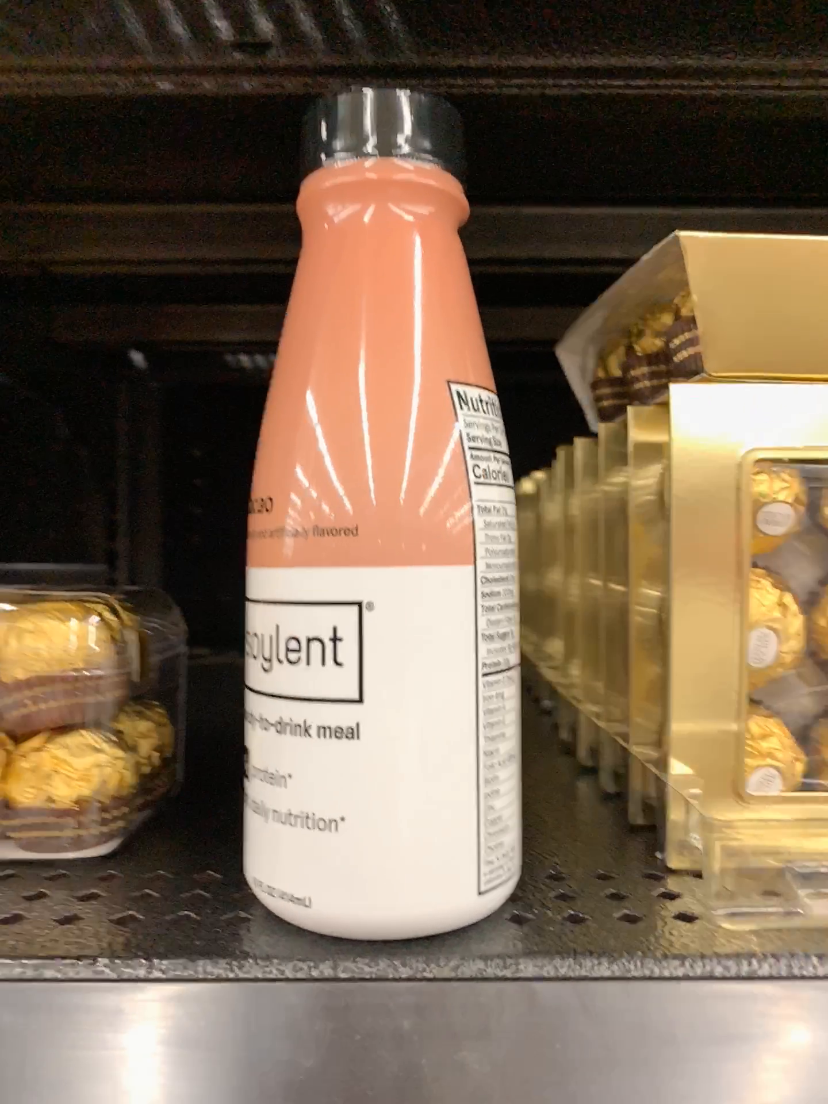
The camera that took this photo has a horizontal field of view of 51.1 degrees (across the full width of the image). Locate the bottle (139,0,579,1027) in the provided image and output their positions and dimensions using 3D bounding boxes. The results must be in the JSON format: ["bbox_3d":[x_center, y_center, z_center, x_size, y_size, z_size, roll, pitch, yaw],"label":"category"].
[{"bbox_3d":[-0.015,-0.010,0.209,0.070,0.190,0.080,-1,2,-43],"label":"bottle"}]
